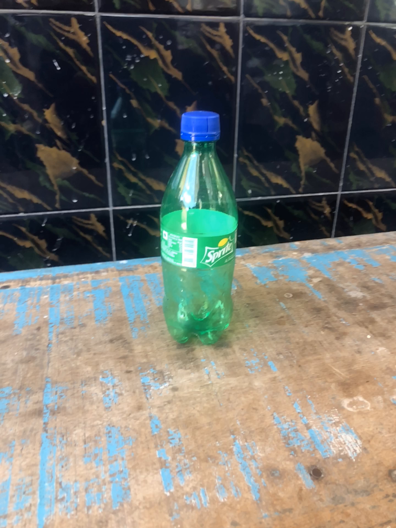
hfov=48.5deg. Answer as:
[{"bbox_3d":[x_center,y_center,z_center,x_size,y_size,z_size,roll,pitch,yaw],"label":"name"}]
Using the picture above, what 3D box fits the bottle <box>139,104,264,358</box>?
[{"bbox_3d":[0.002,-0.023,0.307,0.050,0.159,0.060,24,34,39],"label":"bottle"}]
